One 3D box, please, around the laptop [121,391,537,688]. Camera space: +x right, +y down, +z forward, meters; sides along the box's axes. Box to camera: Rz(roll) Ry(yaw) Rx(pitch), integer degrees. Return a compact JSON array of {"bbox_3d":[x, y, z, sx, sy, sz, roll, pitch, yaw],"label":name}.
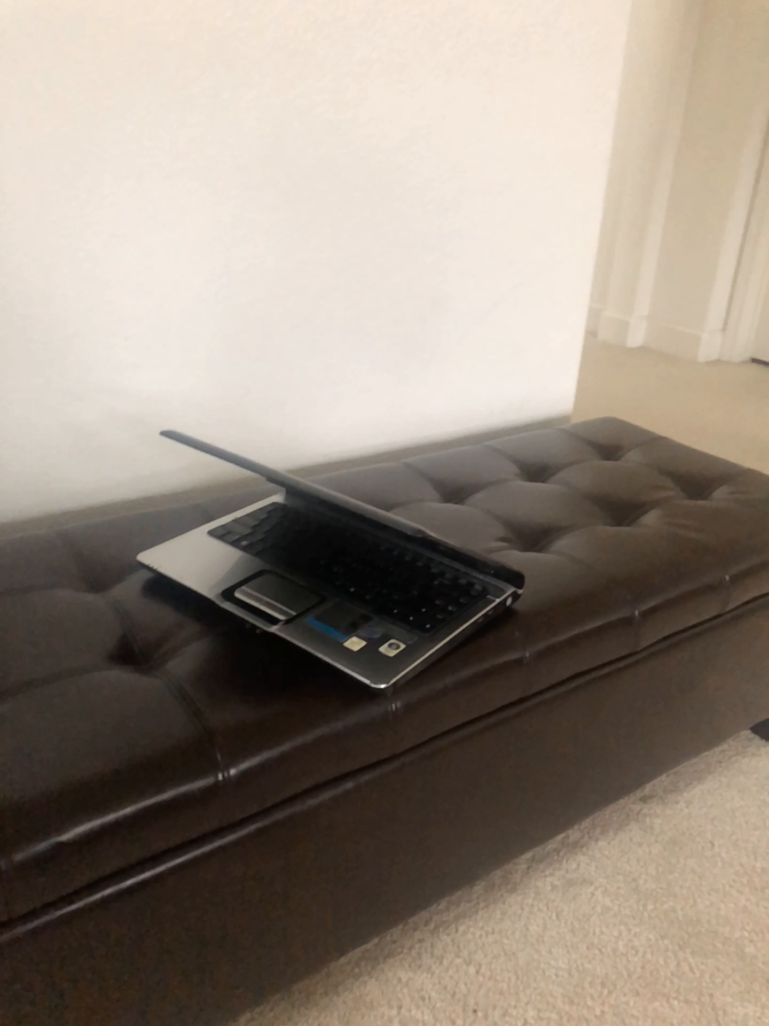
[{"bbox_3d":[-0.058,-0.001,0.826,0.333,0.122,0.231,21,30,34],"label":"laptop"}]
